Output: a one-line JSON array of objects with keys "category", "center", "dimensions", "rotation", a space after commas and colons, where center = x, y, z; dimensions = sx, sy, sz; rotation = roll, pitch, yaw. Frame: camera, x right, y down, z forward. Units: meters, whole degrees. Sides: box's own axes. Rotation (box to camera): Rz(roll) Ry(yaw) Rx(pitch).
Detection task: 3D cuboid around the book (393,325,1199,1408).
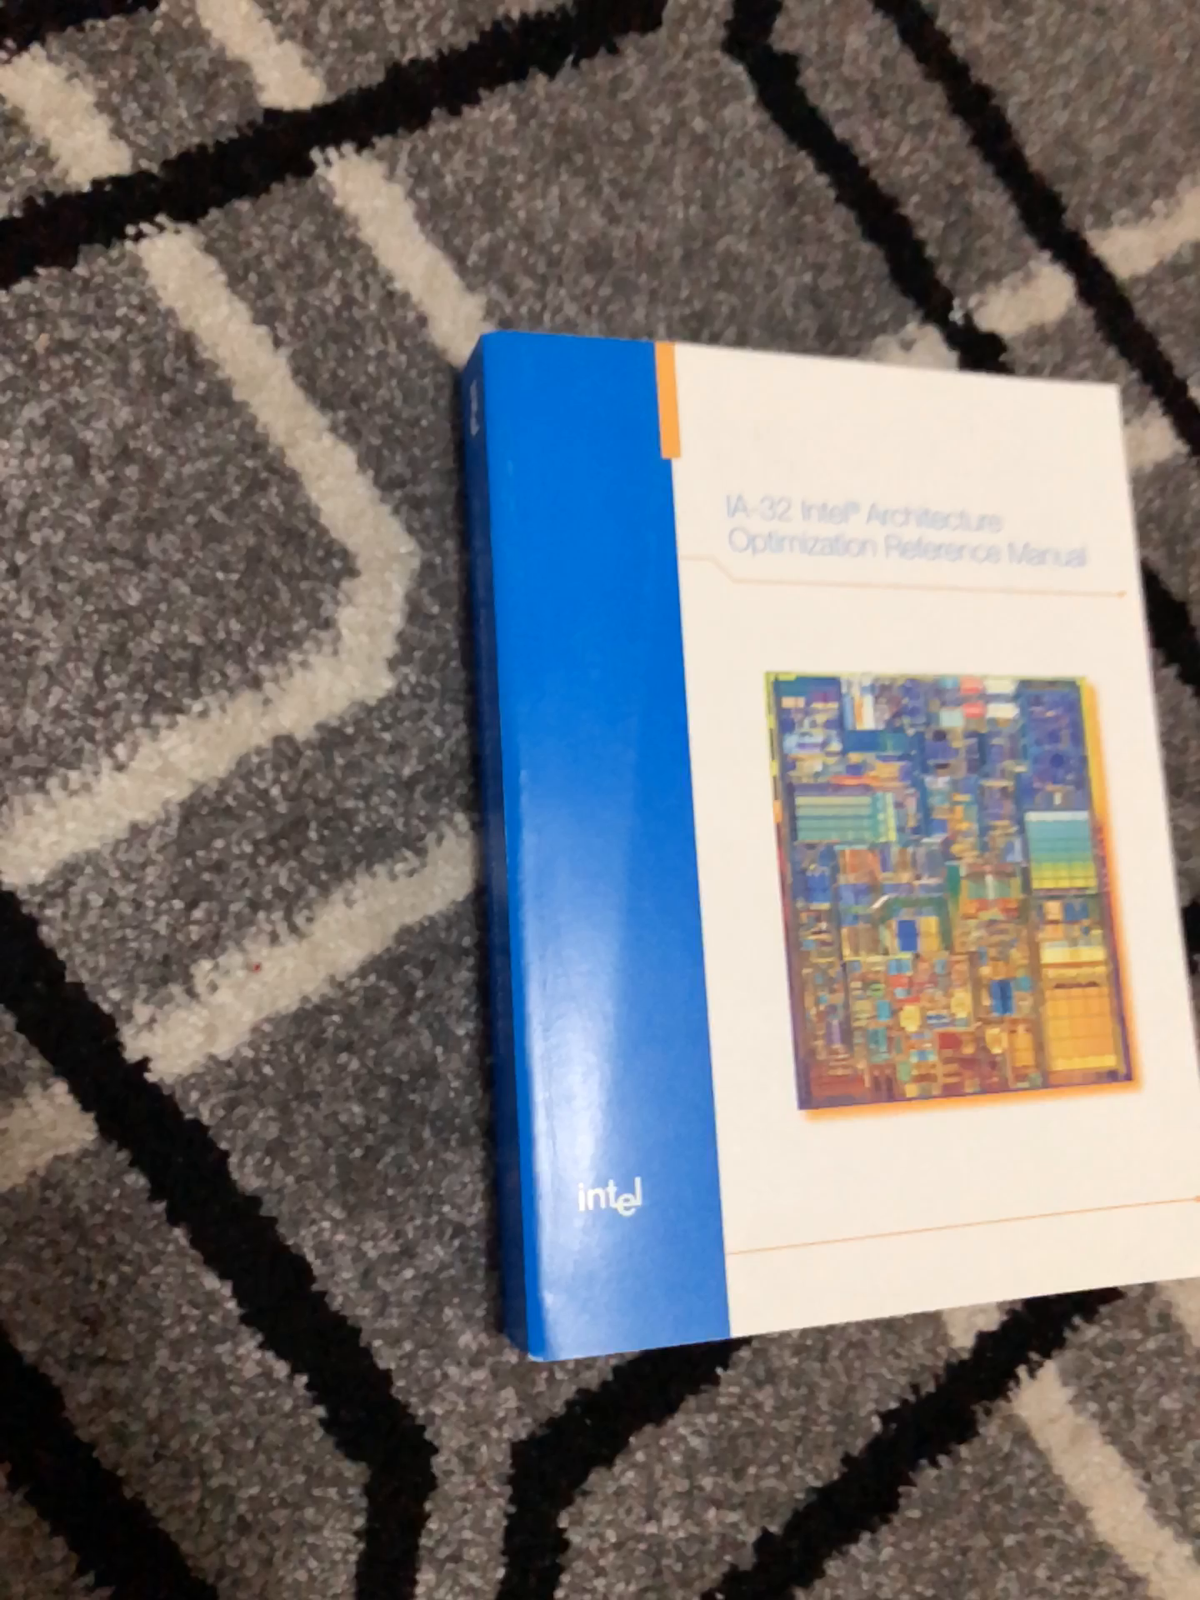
[{"category": "book", "center": [0.046, 0.008, 0.300], "dimensions": [0.170, 0.040, 0.210], "rotation": [-1, 80, -16]}]
